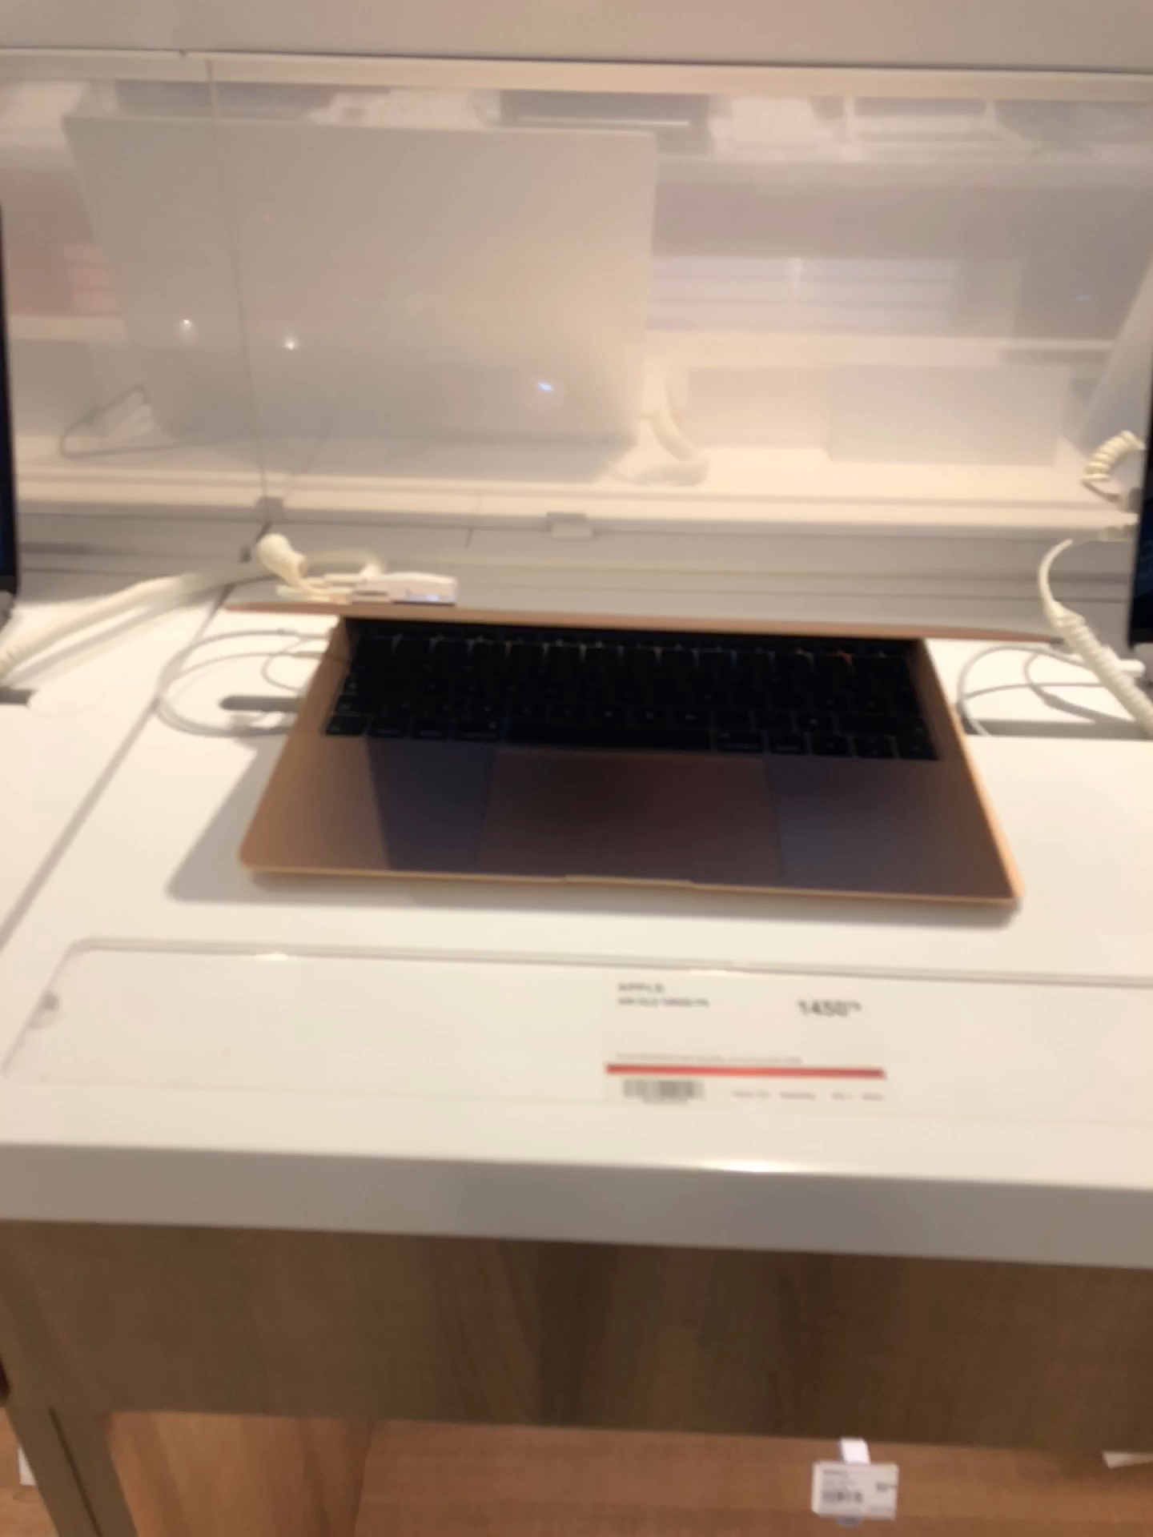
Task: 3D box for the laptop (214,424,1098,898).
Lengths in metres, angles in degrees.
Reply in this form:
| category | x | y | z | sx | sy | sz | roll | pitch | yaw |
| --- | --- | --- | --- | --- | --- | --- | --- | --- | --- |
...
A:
| category | x | y | z | sx | sy | sz | roll | pitch | yaw |
| --- | --- | --- | --- | --- | --- | --- | --- | --- | --- |
| laptop | 0.021 | -0.063 | 0.546 | 0.298 | 0.104 | 0.226 | 2 | 32 | 4 |
